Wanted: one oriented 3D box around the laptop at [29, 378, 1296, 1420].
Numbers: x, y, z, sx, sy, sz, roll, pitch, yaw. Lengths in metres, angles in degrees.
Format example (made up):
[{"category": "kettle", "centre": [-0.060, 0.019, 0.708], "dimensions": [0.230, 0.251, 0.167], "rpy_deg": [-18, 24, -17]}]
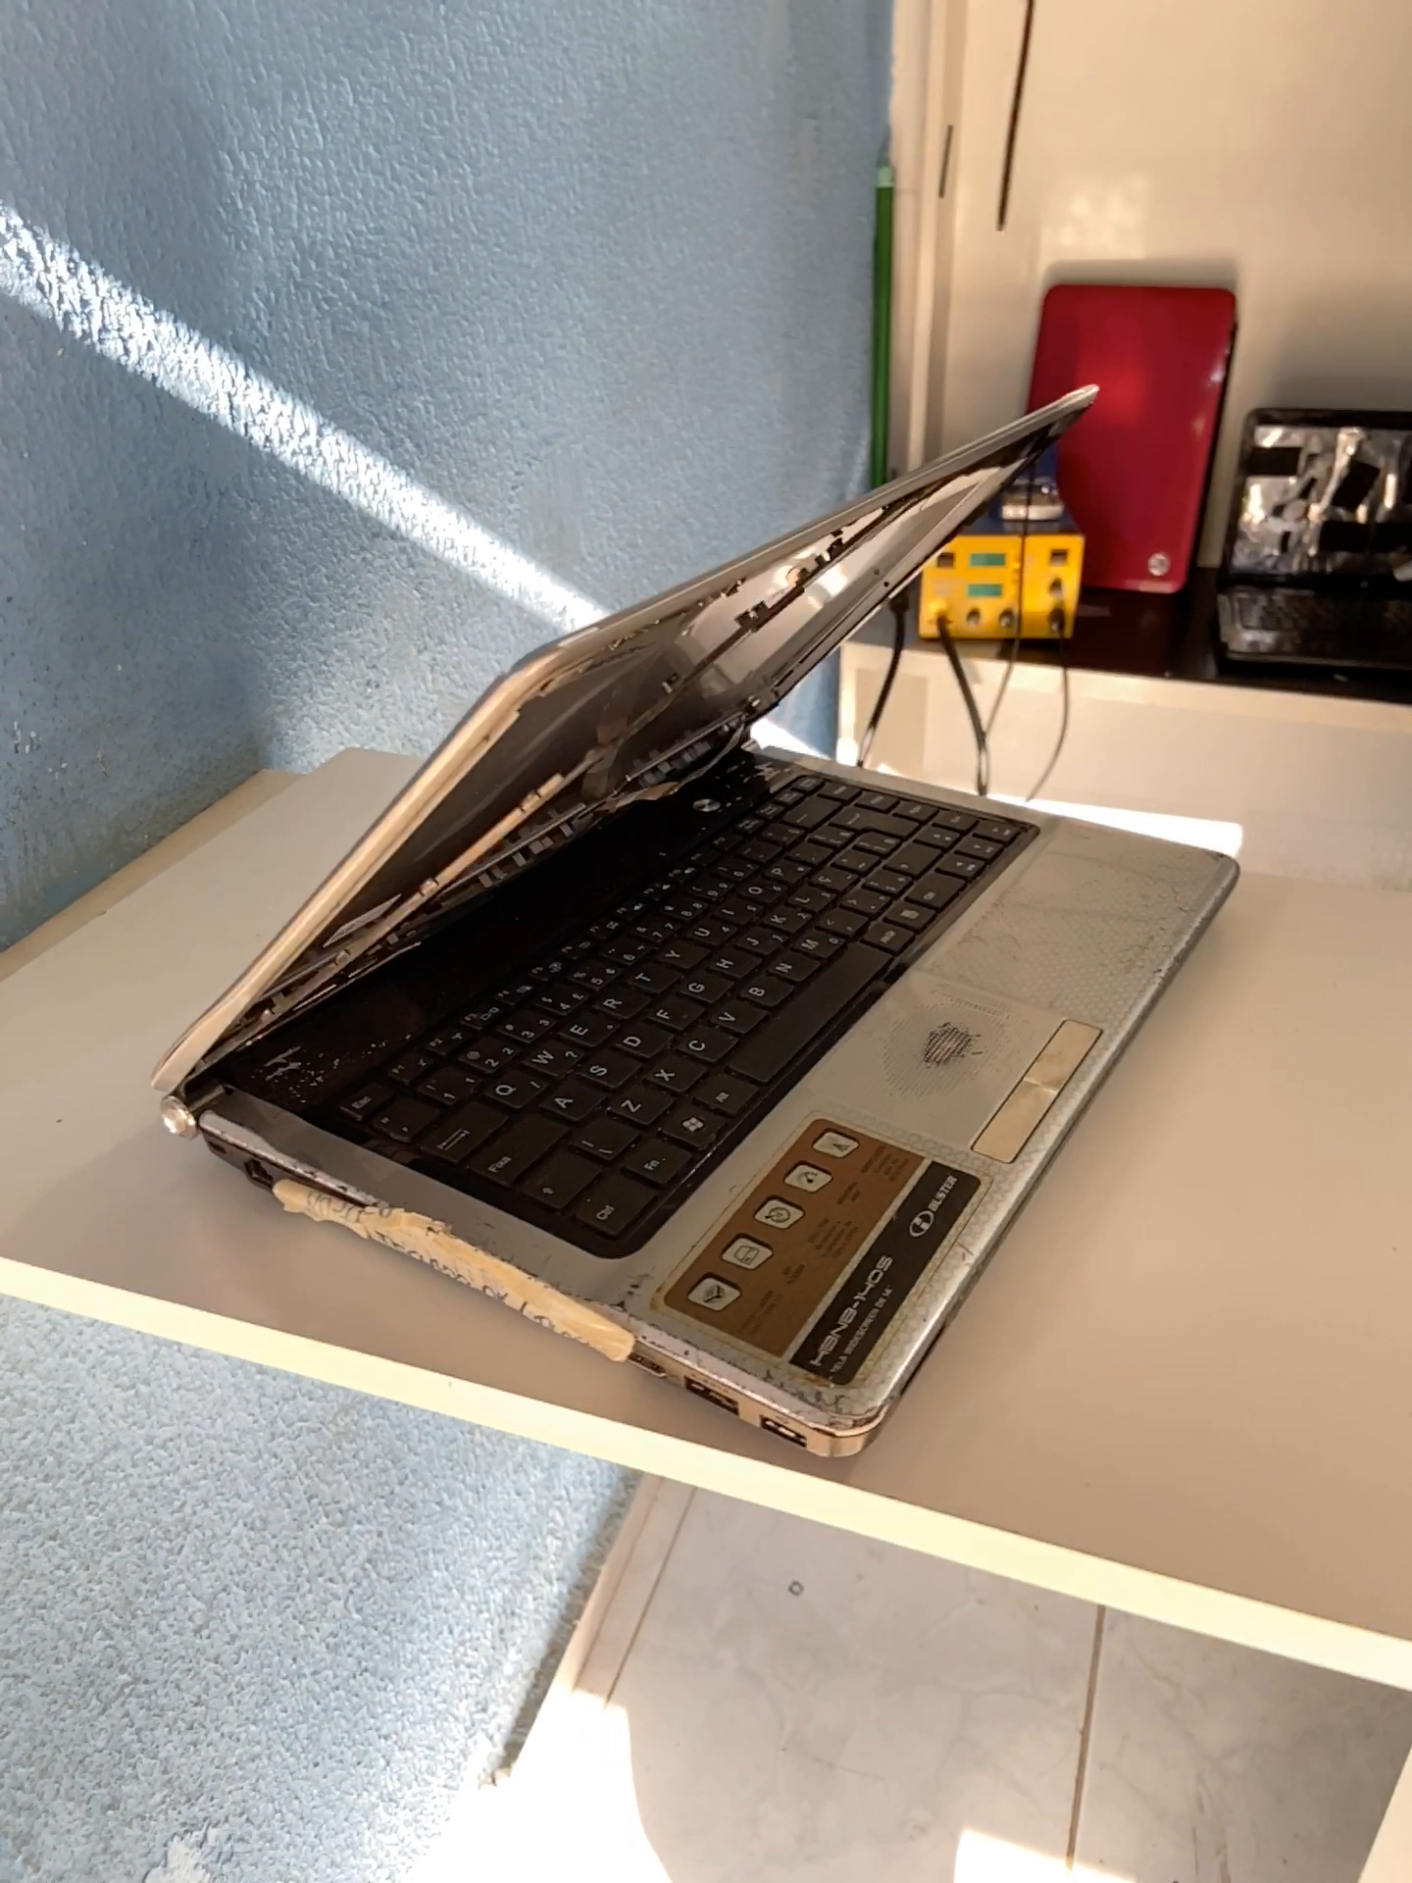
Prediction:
[{"category": "laptop", "centre": [0.018, -0.062, 0.466], "dimensions": [0.232, 0.160, 0.327], "rpy_deg": [17, 34, 28]}]
